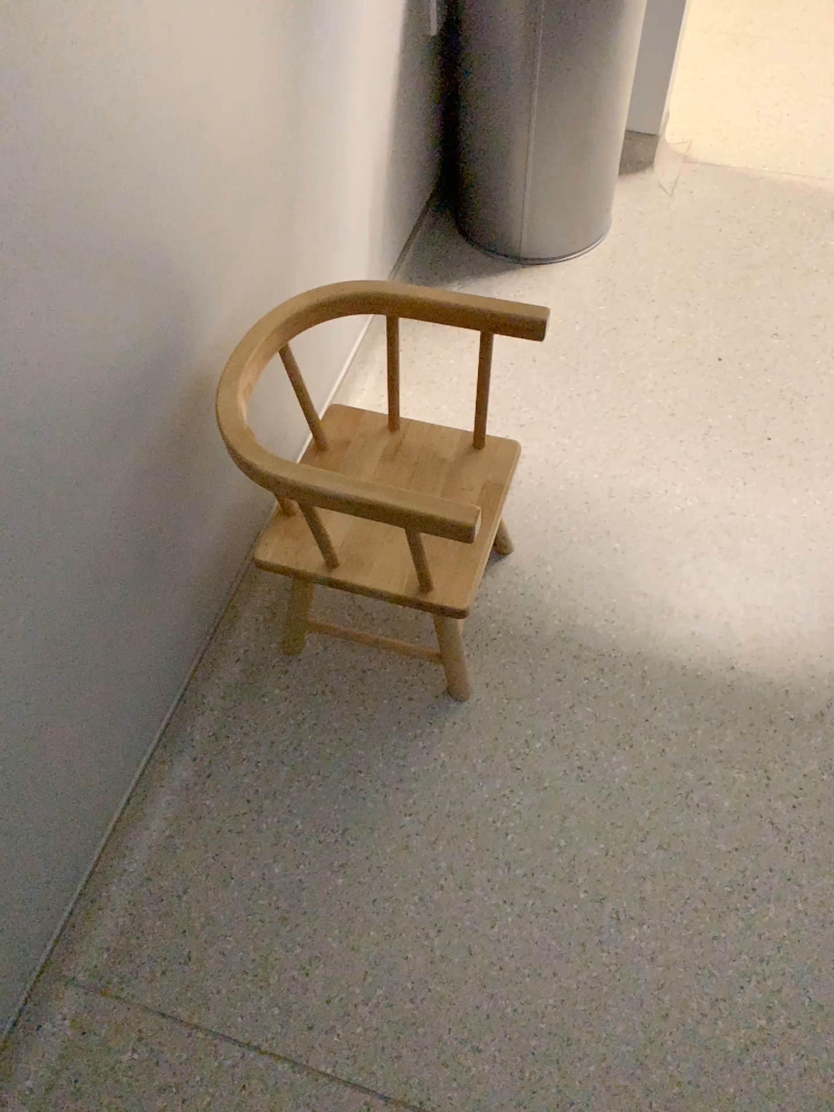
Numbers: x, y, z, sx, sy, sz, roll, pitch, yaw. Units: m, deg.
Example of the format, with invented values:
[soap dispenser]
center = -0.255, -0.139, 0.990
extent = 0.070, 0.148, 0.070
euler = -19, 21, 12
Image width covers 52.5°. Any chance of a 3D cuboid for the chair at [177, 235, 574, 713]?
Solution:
[chair]
center = -0.023, -0.094, 1.165
extent = 0.343, 0.482, 0.363
euler = 16, 59, 14
